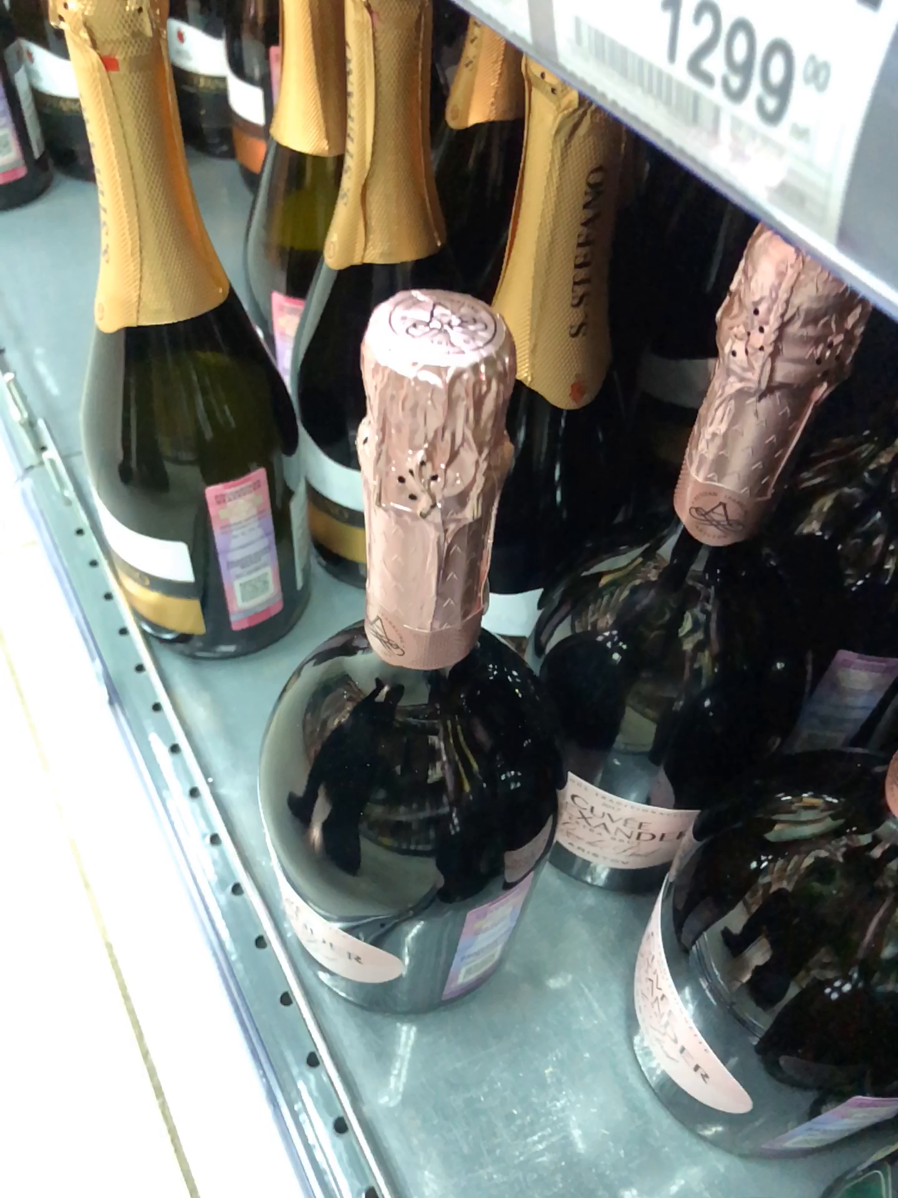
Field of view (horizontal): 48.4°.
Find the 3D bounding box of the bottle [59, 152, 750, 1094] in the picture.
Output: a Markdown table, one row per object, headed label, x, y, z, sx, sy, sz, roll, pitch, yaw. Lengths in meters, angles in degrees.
| label | x | y | z | sx | sy | sz | roll | pitch | yaw |
| --- | --- | --- | --- | --- | --- | --- | --- | --- | --- |
| bottle | -0.020 | 0.036 | 0.302 | 0.090 | 0.278 | 0.110 | -26 | 56 | -23 |
